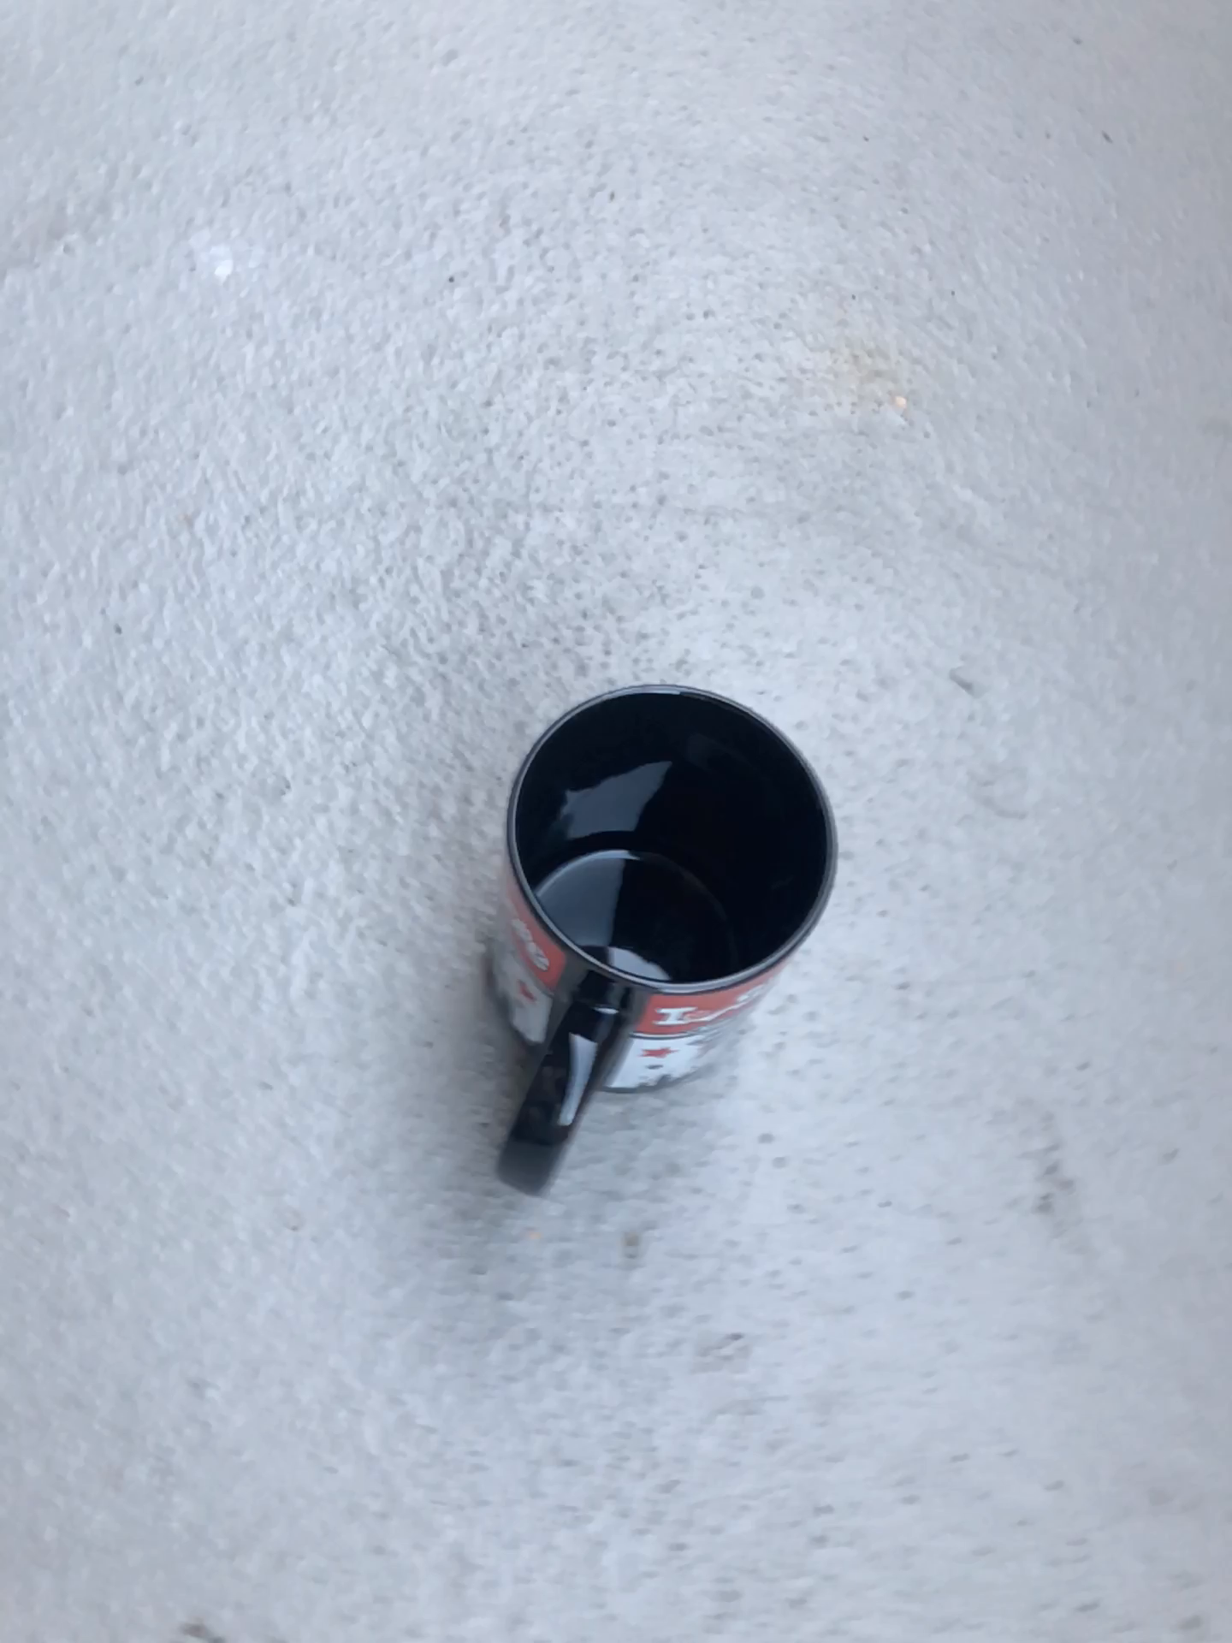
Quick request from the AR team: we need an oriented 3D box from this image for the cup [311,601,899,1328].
[{"bbox_3d":[-0.003,0.040,0.344,0.080,0.110,0.130,25,63,5],"label":"cup"}]
